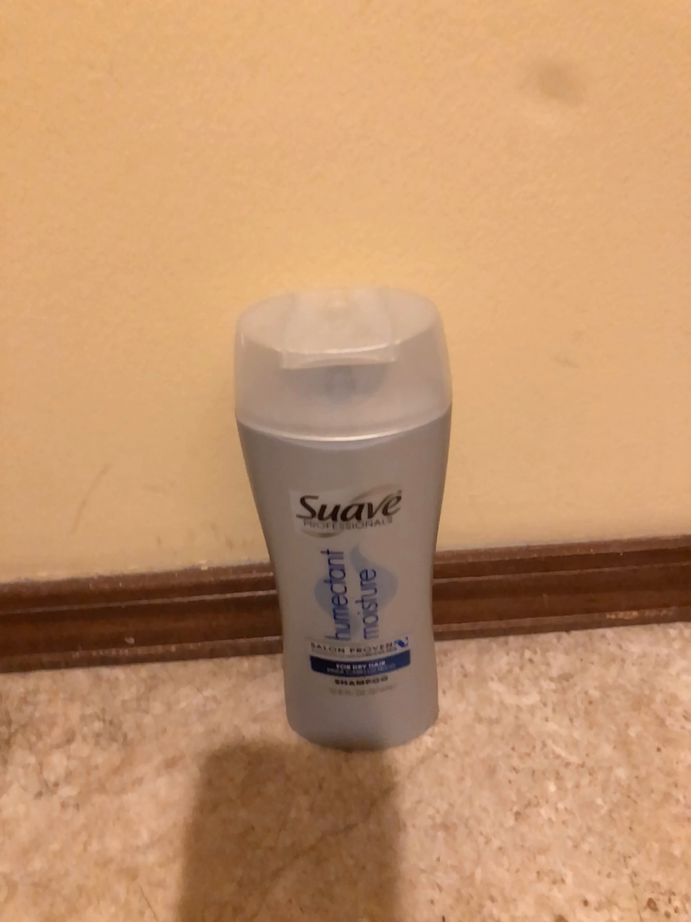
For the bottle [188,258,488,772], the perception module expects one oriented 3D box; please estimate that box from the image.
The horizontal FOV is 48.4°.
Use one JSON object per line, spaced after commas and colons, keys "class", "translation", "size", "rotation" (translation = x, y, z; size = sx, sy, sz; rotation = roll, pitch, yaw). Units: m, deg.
{"class": "bottle", "translation": [0.000, 0.036, 0.290], "size": [0.080, 0.210, 0.050], "rotation": [-5, 39, -2]}
